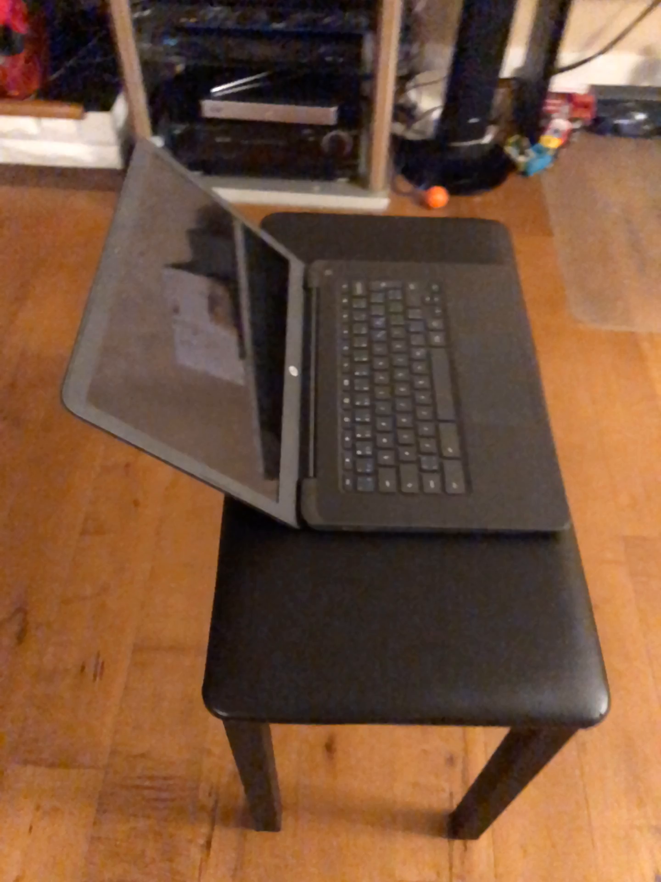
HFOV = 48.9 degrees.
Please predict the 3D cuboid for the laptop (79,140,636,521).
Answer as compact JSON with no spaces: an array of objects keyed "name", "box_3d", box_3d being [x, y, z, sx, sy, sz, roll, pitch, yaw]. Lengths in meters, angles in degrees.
[{"name":"laptop","box_3d":[0.015,-0.105,0.627,0.362,0.144,0.318,0,52,0]}]
